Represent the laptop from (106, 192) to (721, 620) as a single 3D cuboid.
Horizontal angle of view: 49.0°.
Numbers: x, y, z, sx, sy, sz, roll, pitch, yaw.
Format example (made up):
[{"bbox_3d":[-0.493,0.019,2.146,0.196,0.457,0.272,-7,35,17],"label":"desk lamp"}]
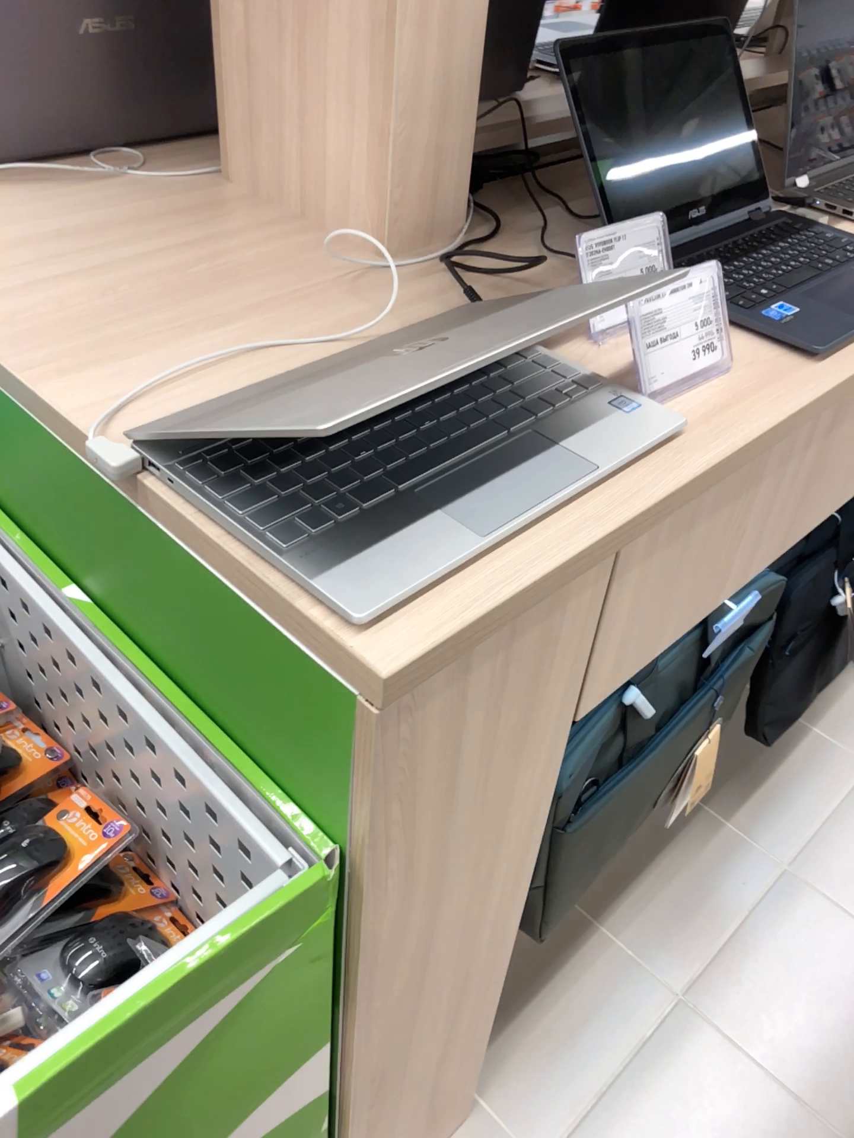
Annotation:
[{"bbox_3d":[0.002,-0.130,0.600,0.323,0.095,0.206,-30,53,-35],"label":"laptop"}]
